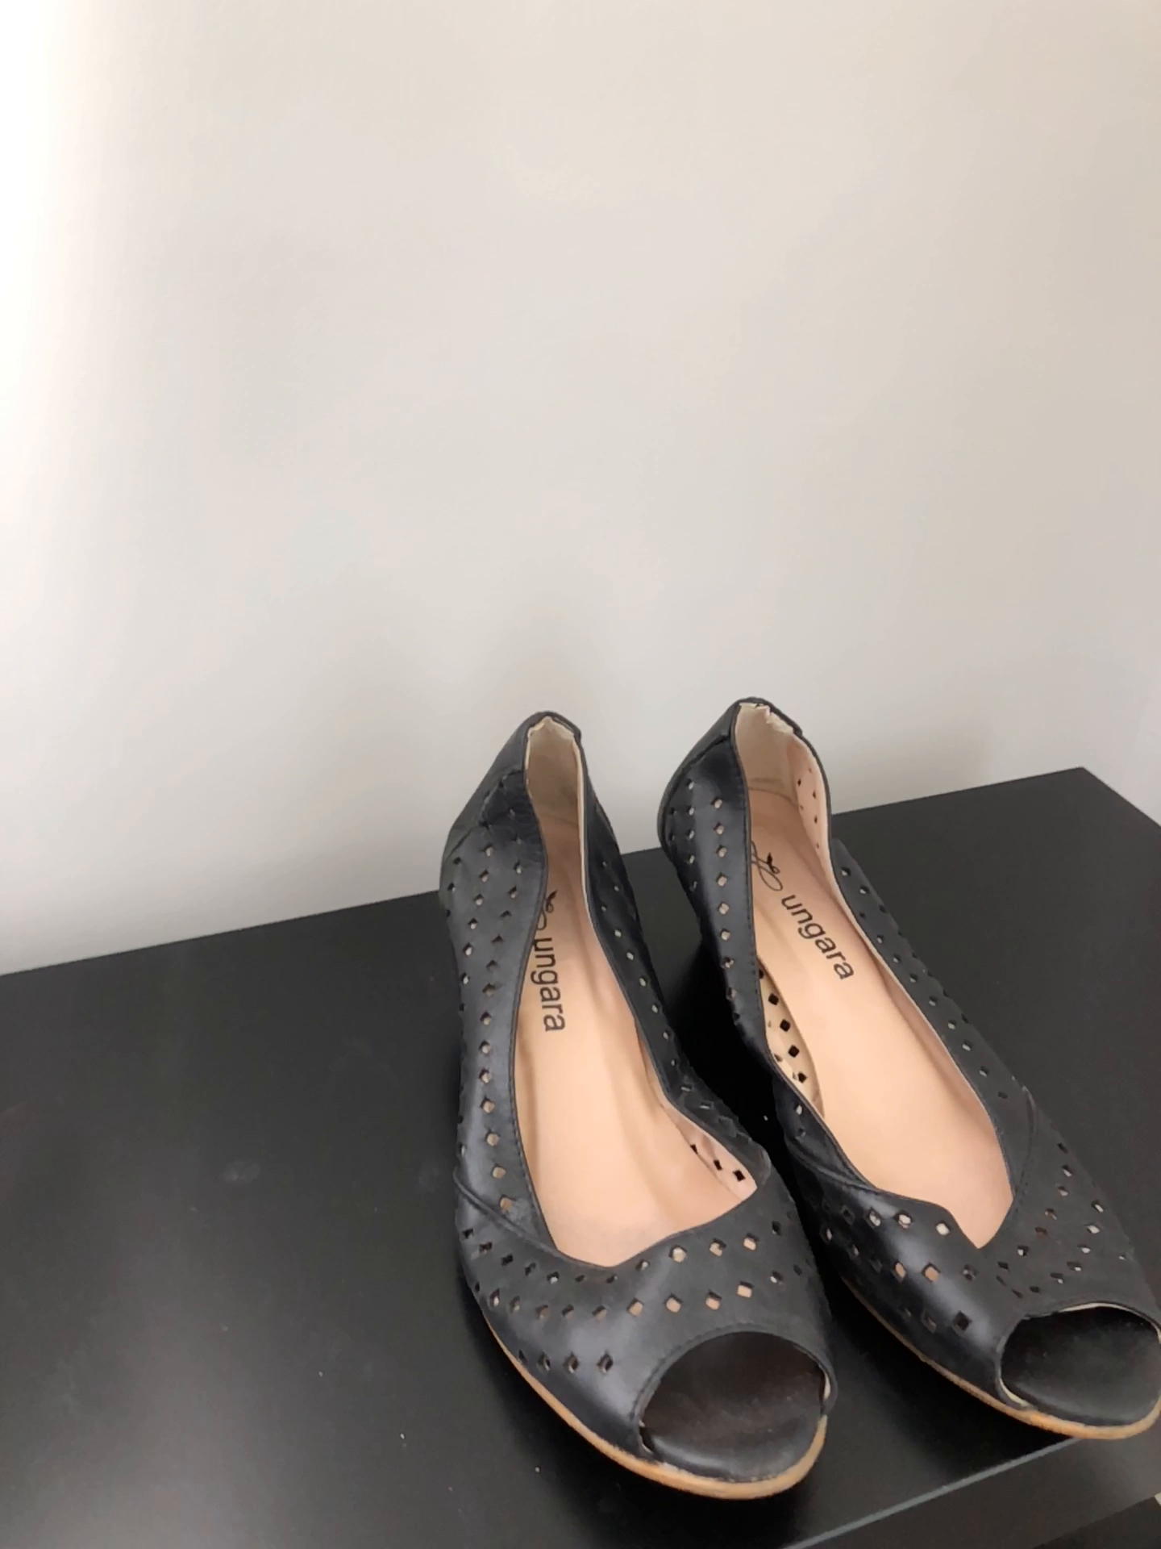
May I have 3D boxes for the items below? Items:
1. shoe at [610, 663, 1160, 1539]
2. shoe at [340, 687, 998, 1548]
[{"bbox_3d":[0.092,0.066,0.362,0.085,0.100,0.221,-10,33,-19],"label":"shoe"},{"bbox_3d":[0.000,0.077,0.353,0.085,0.100,0.231,-9,33,-18],"label":"shoe"}]
